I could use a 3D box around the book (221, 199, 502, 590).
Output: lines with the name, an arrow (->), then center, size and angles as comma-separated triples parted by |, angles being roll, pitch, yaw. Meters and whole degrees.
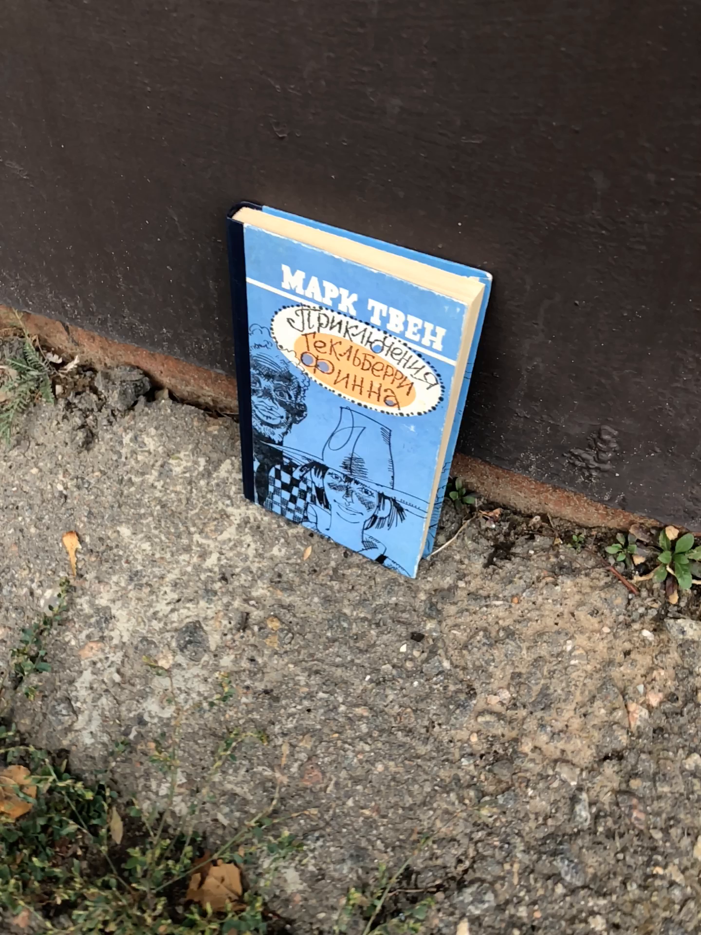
book -> -0.001, -0.031, 0.412 | 0.130, 0.186, 0.030 | 24, 47, 21
